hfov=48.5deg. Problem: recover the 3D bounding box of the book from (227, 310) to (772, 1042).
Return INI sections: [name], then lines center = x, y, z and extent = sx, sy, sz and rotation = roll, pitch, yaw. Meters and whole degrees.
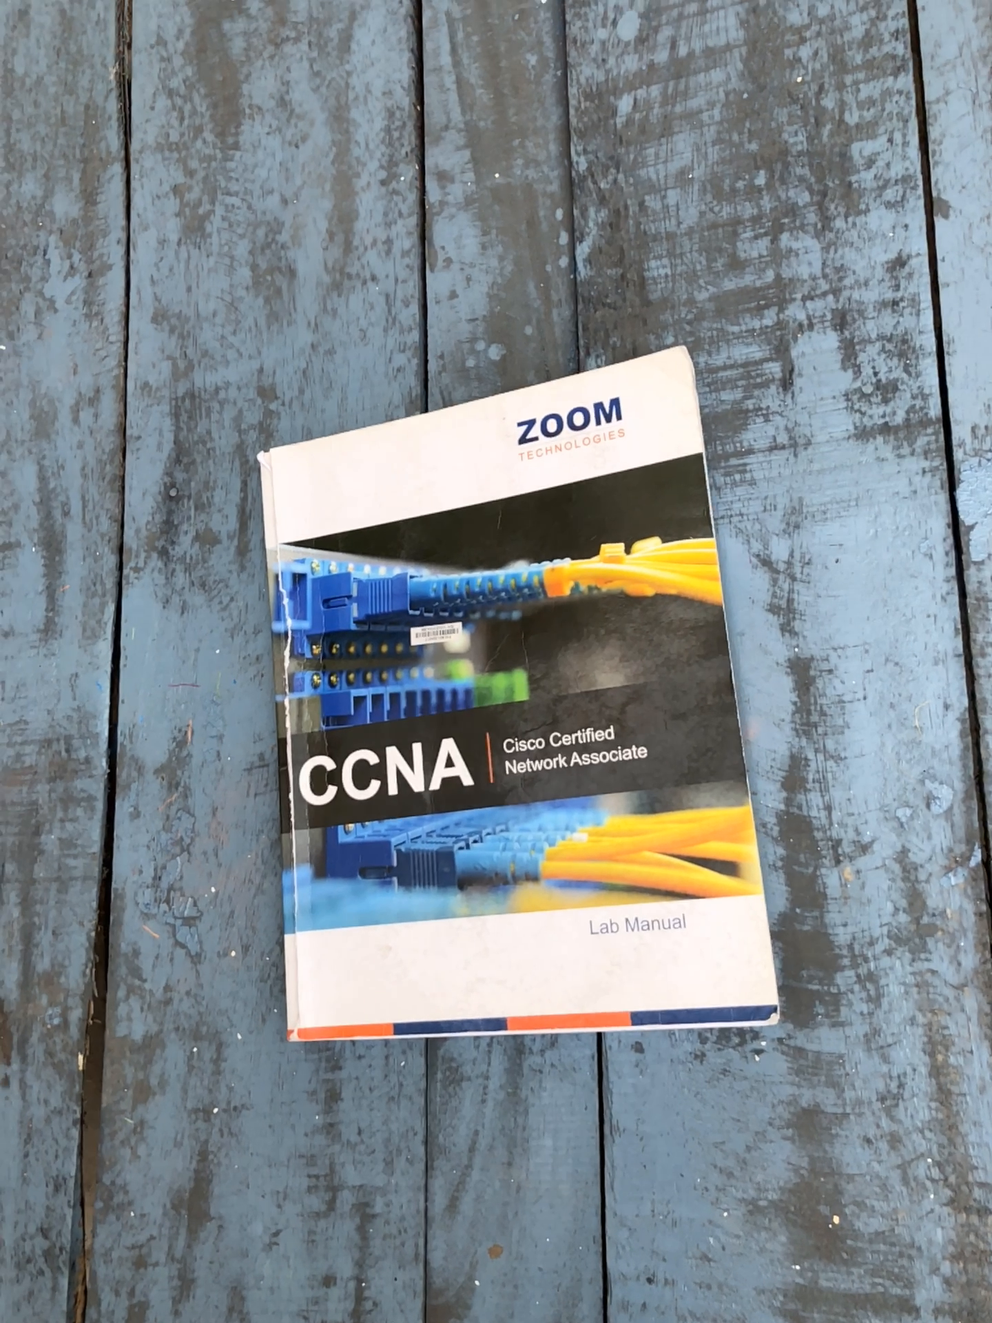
[book]
center = -0.011, 0.009, 0.437
extent = 0.200, 0.030, 0.260
rotation = -9, 76, 19
